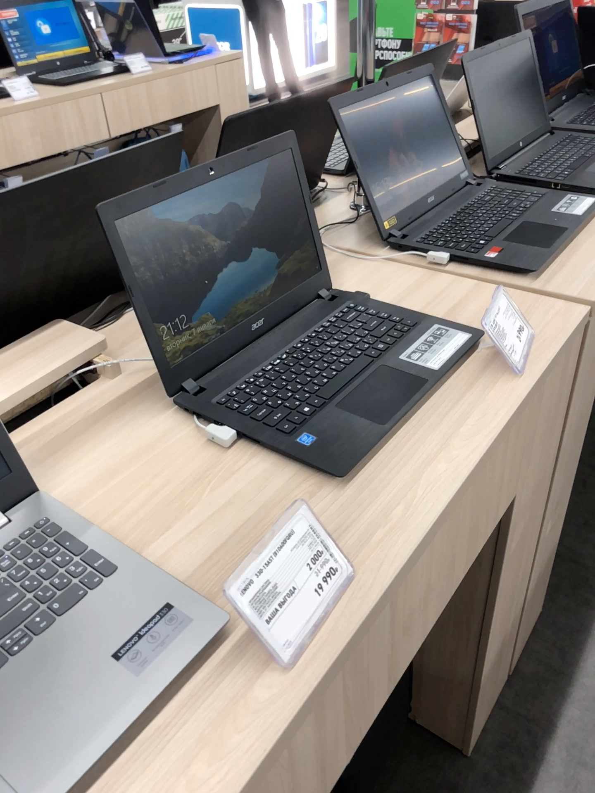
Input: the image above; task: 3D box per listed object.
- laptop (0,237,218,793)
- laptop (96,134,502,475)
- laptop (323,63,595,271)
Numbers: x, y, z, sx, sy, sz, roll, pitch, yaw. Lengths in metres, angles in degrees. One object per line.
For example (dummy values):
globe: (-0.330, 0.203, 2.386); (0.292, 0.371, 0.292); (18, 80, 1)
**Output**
laptop: (-0.302, 0.109, 0.418); (0.338, 0.236, 0.363); (22, 42, 31)
laptop: (0.019, -0.143, 0.780); (0.302, 0.223, 0.343); (21, 41, 31)
laptop: (0.314, -0.432, 1.159); (0.376, 0.216, 0.380); (21, 41, 30)
